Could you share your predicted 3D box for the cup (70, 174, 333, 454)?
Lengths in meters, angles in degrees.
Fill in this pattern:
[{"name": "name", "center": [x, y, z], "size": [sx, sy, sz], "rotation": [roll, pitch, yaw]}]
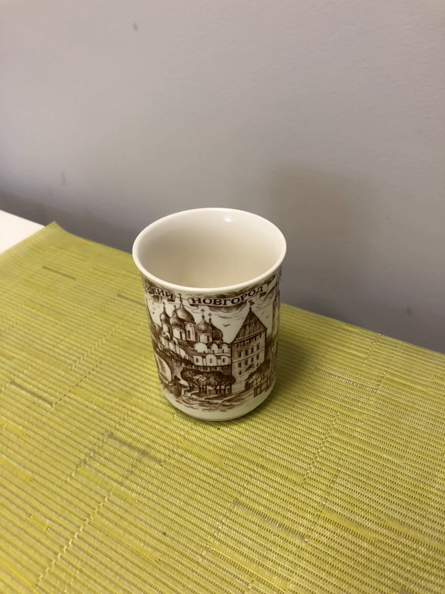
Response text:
[{"name": "cup", "center": [-0.016, 0.001, 0.303], "size": [0.094, 0.092, 0.124], "rotation": [-24, 42, -26]}]
